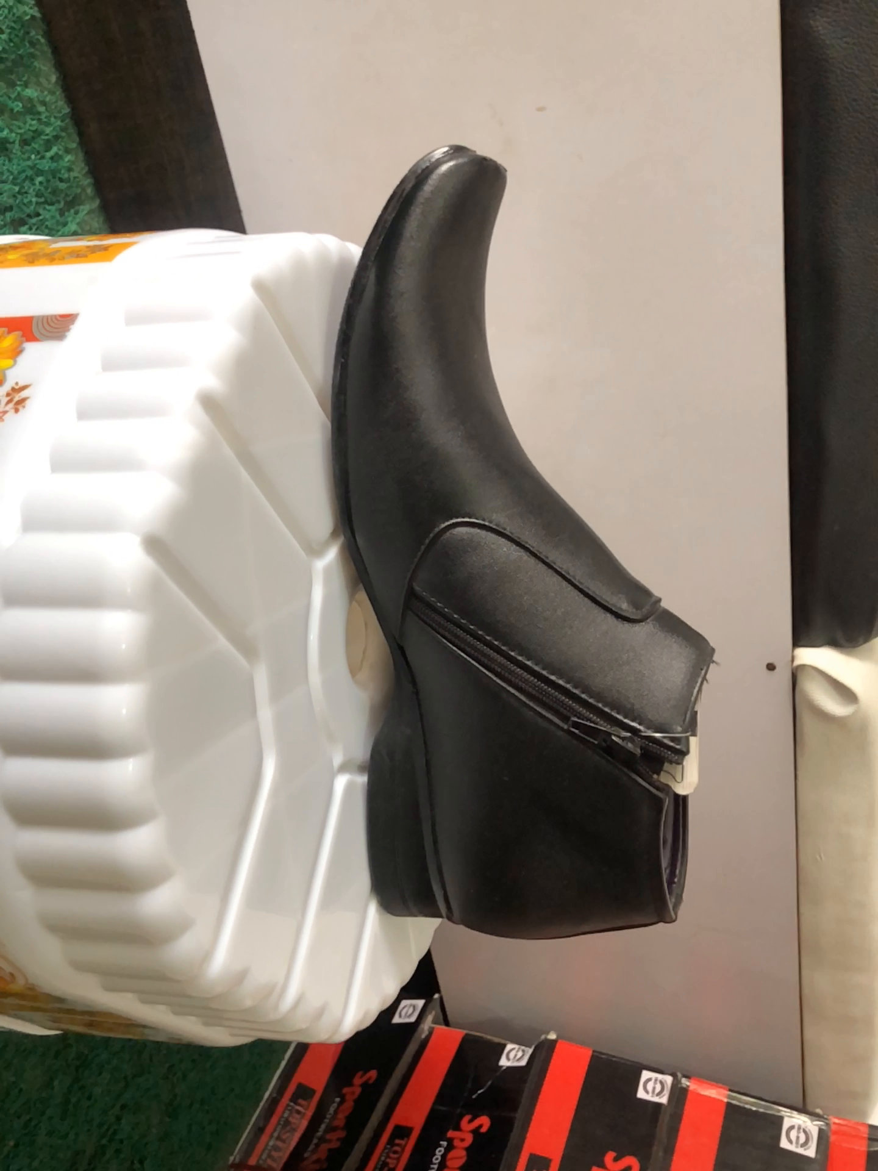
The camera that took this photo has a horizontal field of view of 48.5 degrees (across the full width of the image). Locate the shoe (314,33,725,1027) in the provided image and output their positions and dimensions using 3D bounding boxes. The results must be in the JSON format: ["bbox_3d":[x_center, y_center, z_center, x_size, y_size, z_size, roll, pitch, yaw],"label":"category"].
[{"bbox_3d":[0.040,-0.016,0.381,0.121,0.119,0.310,-7,95,-69],"label":"shoe"}]
